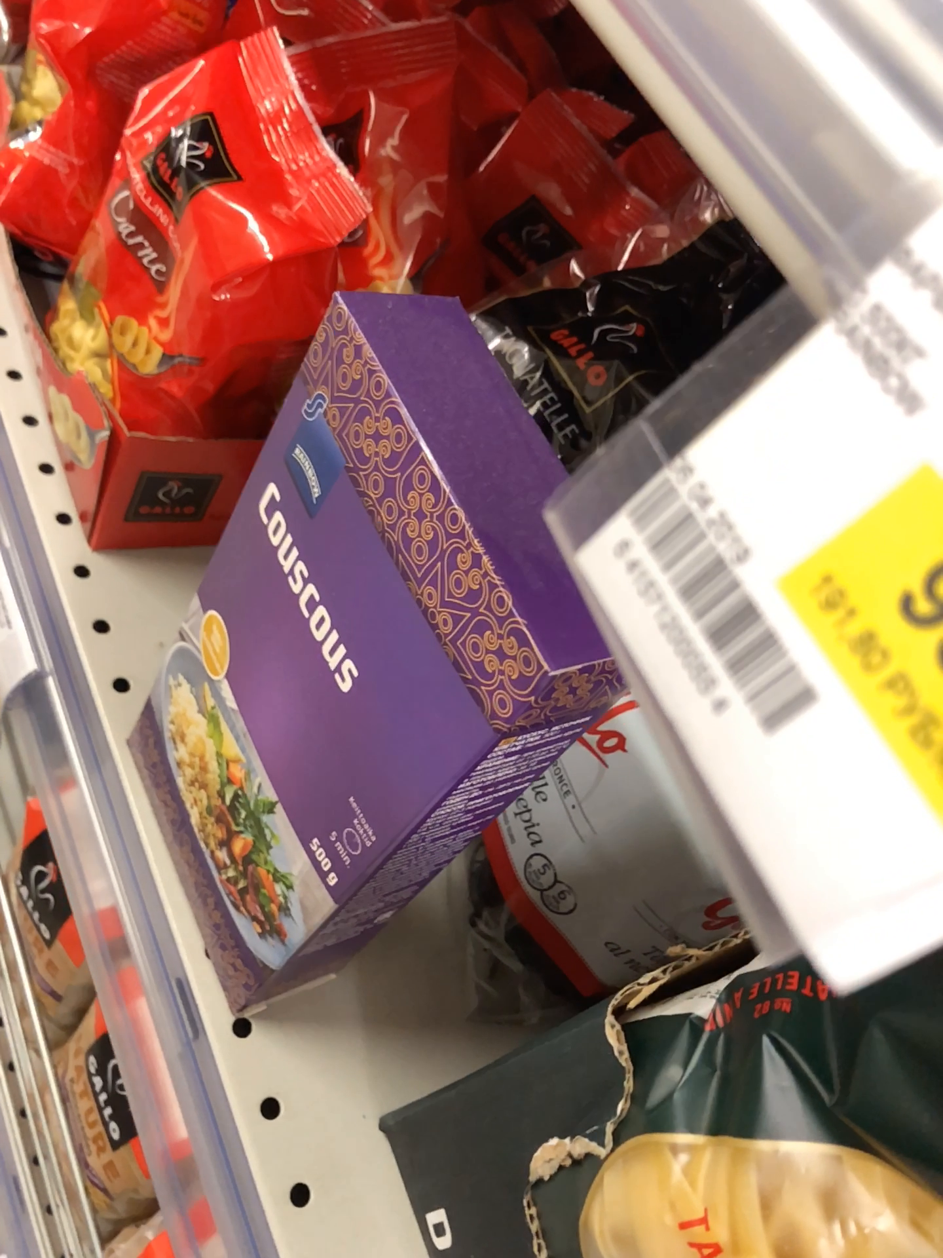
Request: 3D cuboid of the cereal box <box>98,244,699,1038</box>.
[{"bbox_3d":[-0.041,0.019,0.277,0.040,0.199,0.110,-9,62,-38],"label":"cereal box"}]
